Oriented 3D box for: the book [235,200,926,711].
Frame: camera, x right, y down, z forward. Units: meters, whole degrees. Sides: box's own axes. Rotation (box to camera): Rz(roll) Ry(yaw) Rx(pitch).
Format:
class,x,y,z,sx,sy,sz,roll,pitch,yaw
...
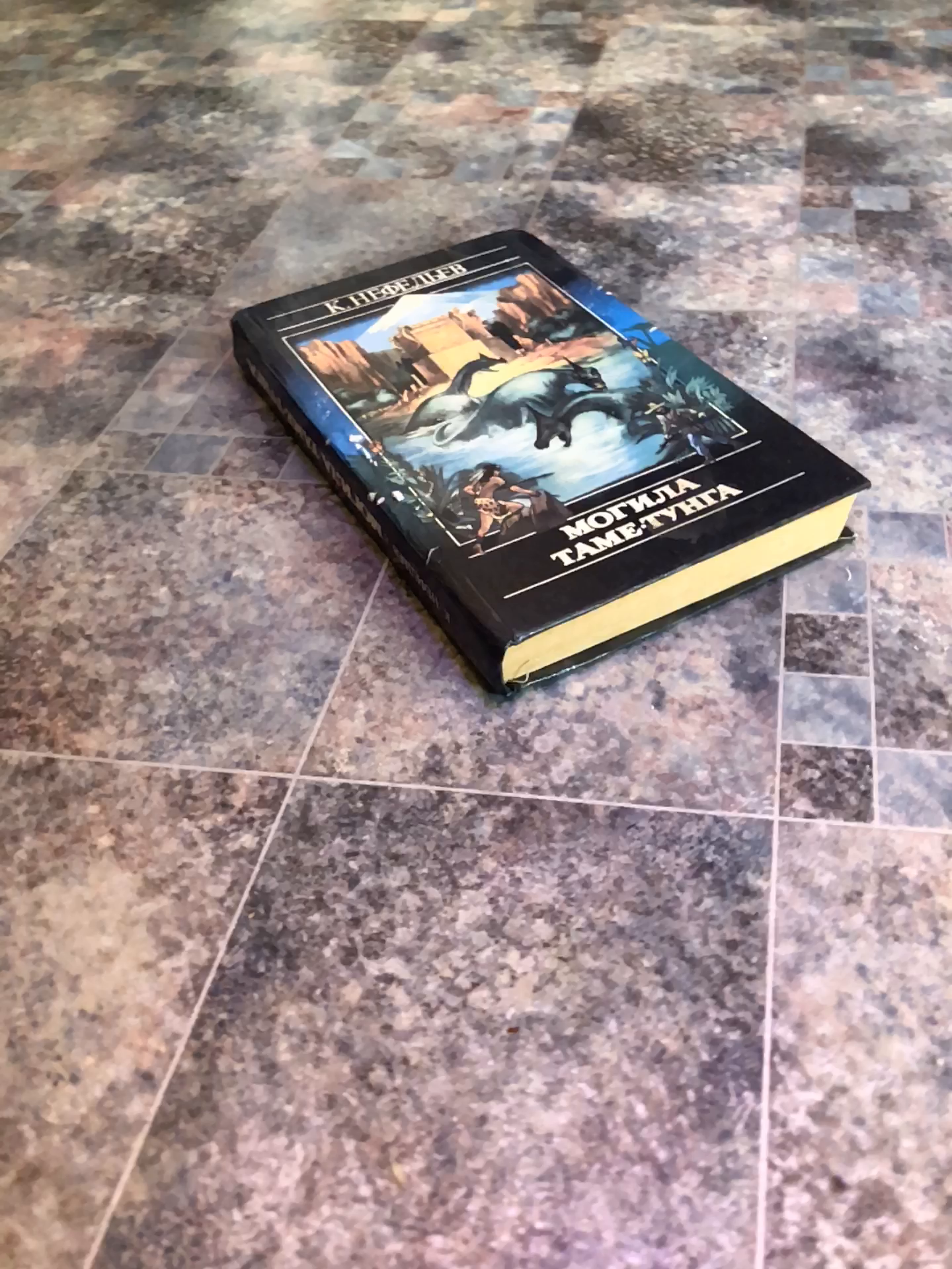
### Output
class,x,y,z,sx,sy,sz,roll,pitch,yaw
book,0.022,-0.078,0.357,0.139,0.030,0.202,-23,50,-19
